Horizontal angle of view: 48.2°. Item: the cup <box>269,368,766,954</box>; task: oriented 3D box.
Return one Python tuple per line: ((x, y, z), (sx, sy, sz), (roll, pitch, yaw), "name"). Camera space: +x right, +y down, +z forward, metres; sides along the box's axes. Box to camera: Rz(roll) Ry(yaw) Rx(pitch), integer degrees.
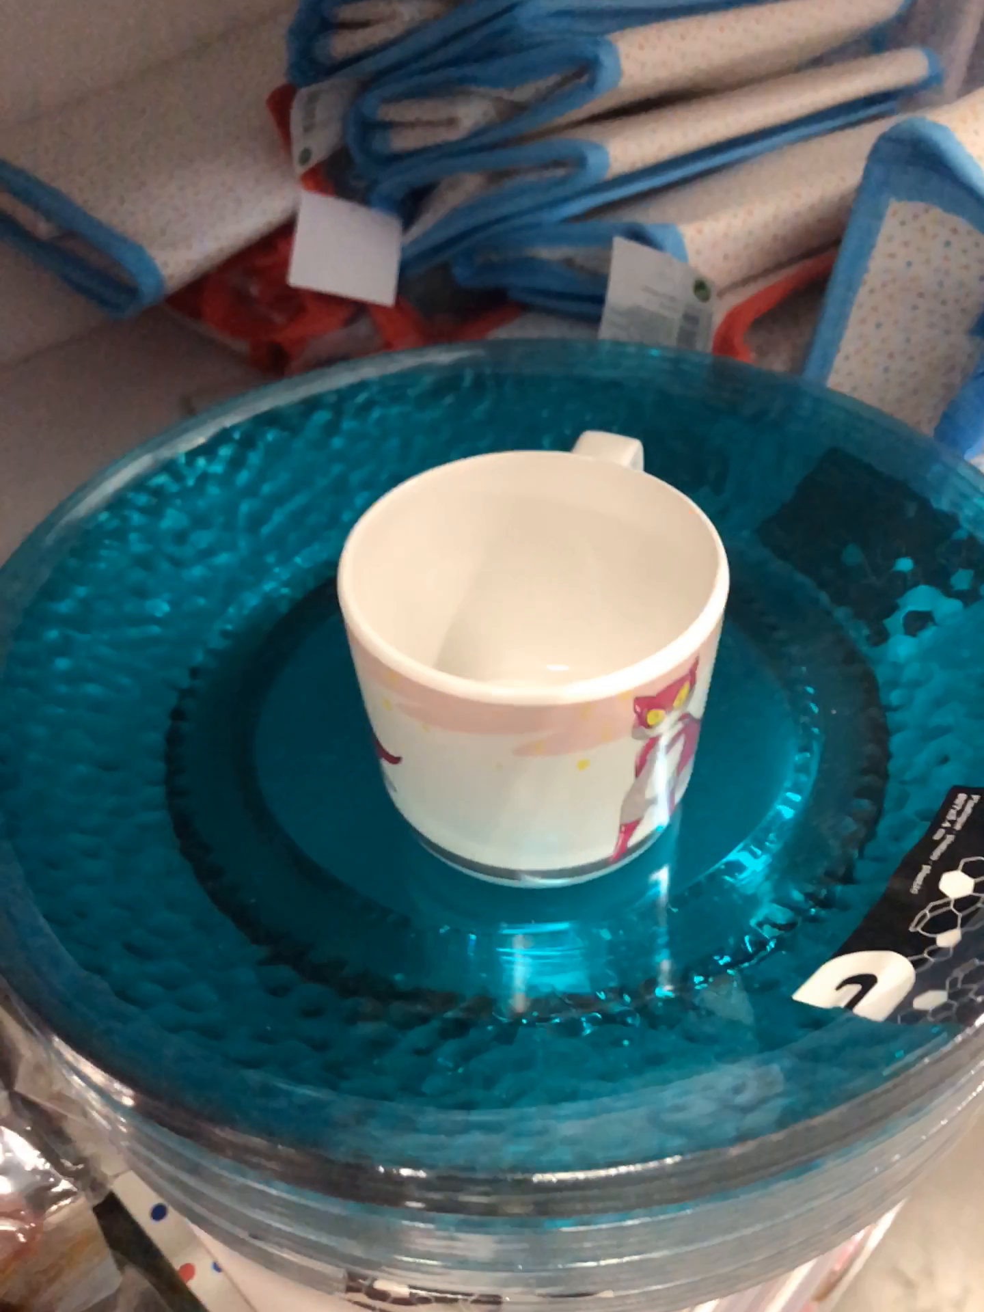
((0.012, -0.005, 0.238), (0.075, 0.064, 0.103), (9, 44, 12), "cup")
